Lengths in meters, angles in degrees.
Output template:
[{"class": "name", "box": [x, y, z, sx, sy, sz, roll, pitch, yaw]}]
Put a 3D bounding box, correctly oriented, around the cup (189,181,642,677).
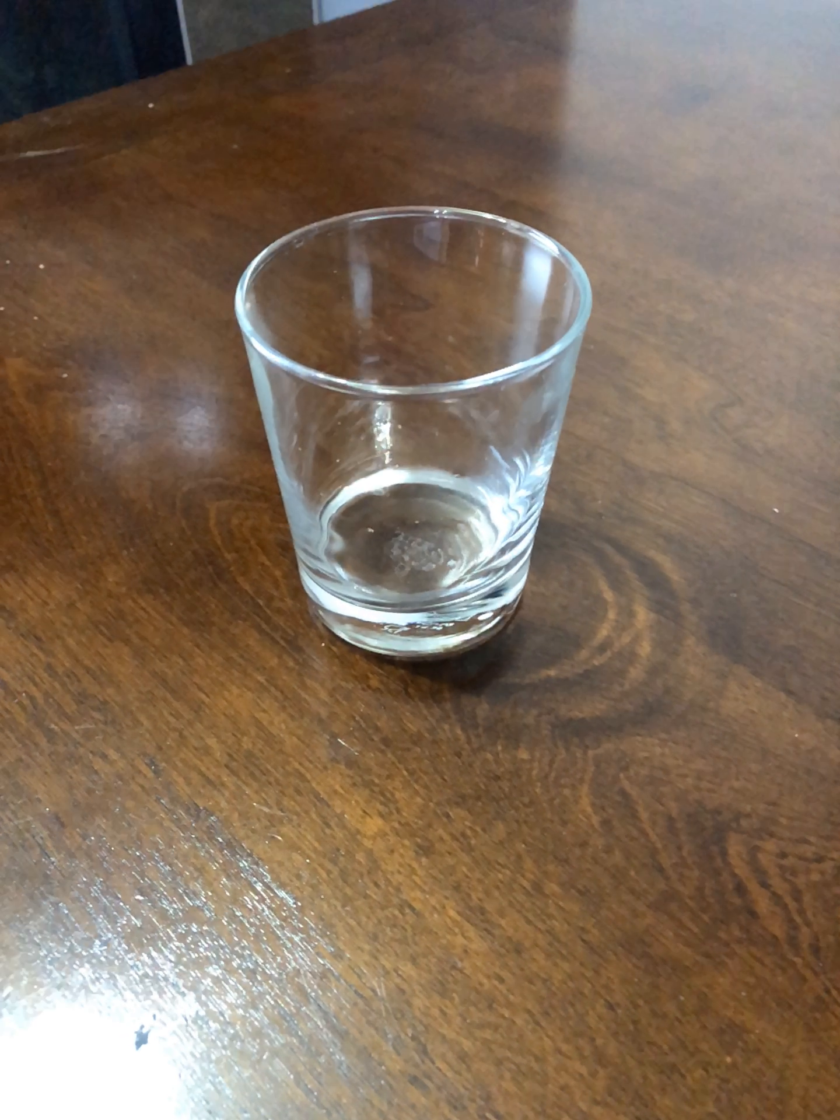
[{"class": "cup", "box": [0.002, -0.035, 0.250, 0.090, 0.090, 0.090, 0, 45, 0]}]
